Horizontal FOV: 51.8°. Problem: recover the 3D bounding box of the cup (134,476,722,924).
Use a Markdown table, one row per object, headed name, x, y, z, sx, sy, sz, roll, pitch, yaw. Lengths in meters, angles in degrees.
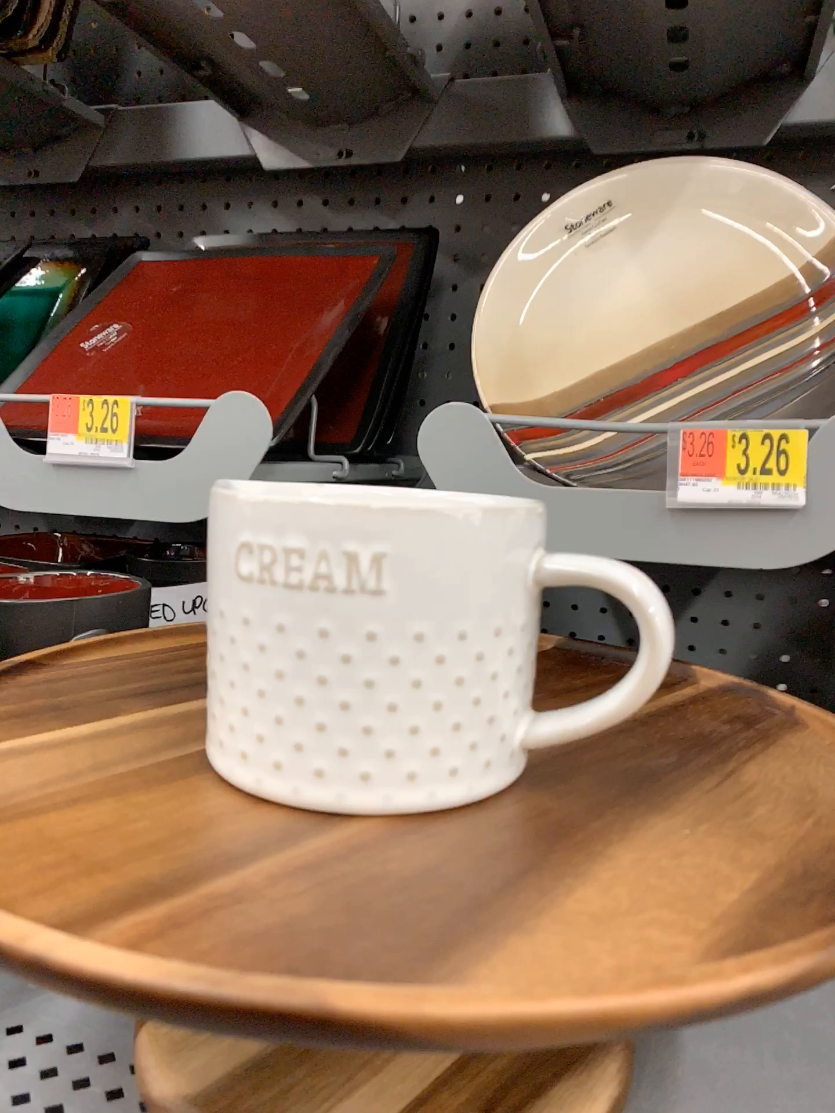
| name | x | y | z | sx | sy | sz | roll | pitch | yaw |
| --- | --- | --- | --- | --- | --- | --- | --- | --- | --- |
| cup | 0.007 | 0.026 | 0.265 | 0.150 | 0.090 | 0.100 | 6 | 8 | 22 |
